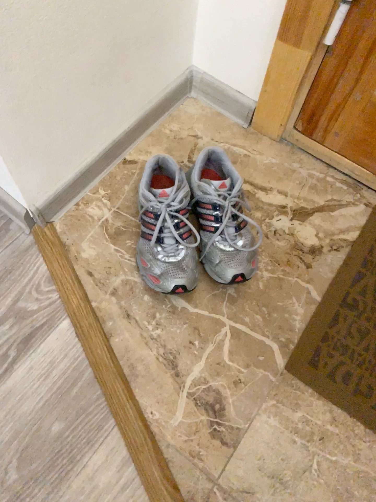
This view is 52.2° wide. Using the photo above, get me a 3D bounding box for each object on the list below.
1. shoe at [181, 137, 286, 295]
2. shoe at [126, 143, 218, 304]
[{"bbox_3d":[0.064,-0.063,0.638,0.110,0.090,0.241,-6,63,-8],"label":"shoe"},{"bbox_3d":[-0.033,-0.049,0.619,0.110,0.090,0.241,-5,63,-8],"label":"shoe"}]
